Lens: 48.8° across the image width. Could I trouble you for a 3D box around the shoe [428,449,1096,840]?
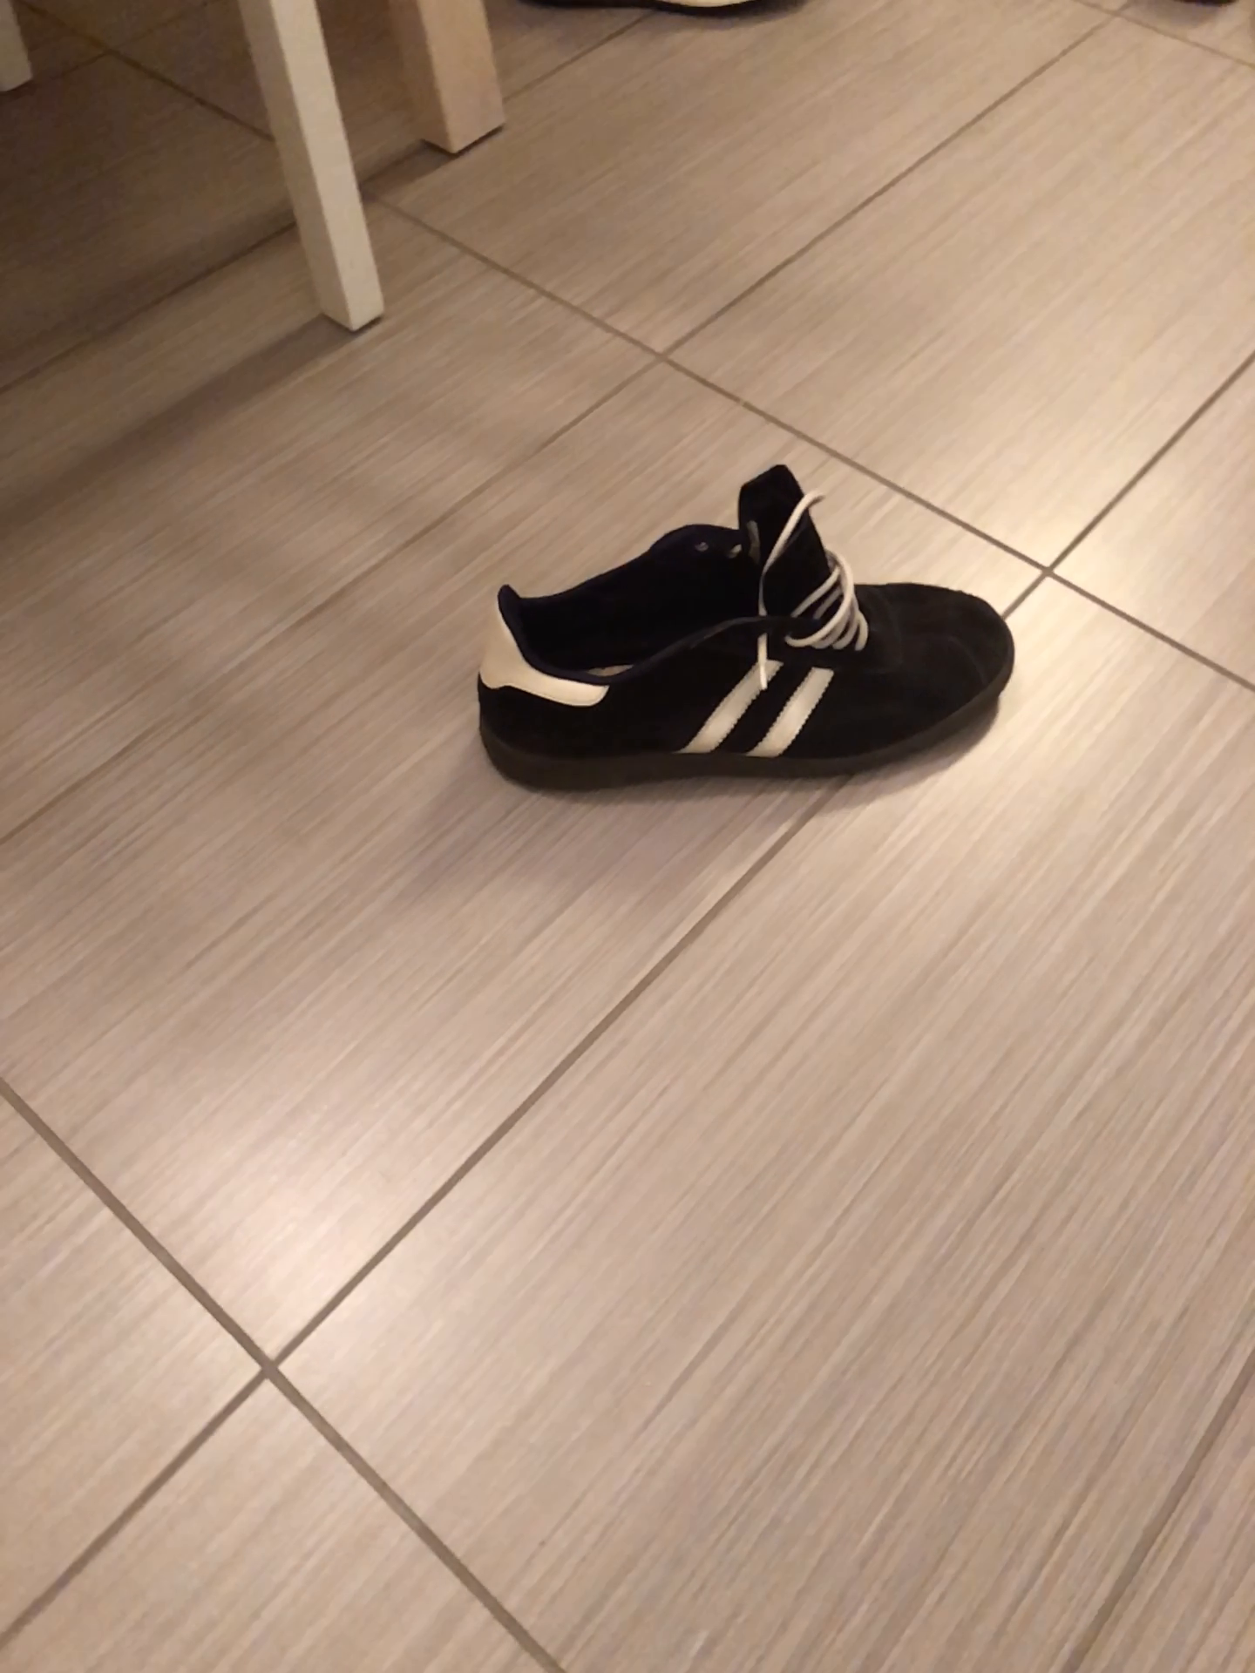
[{"bbox_3d":[0.063,-0.101,0.728,0.310,0.119,0.110,-9,56,-6],"label":"shoe"}]
